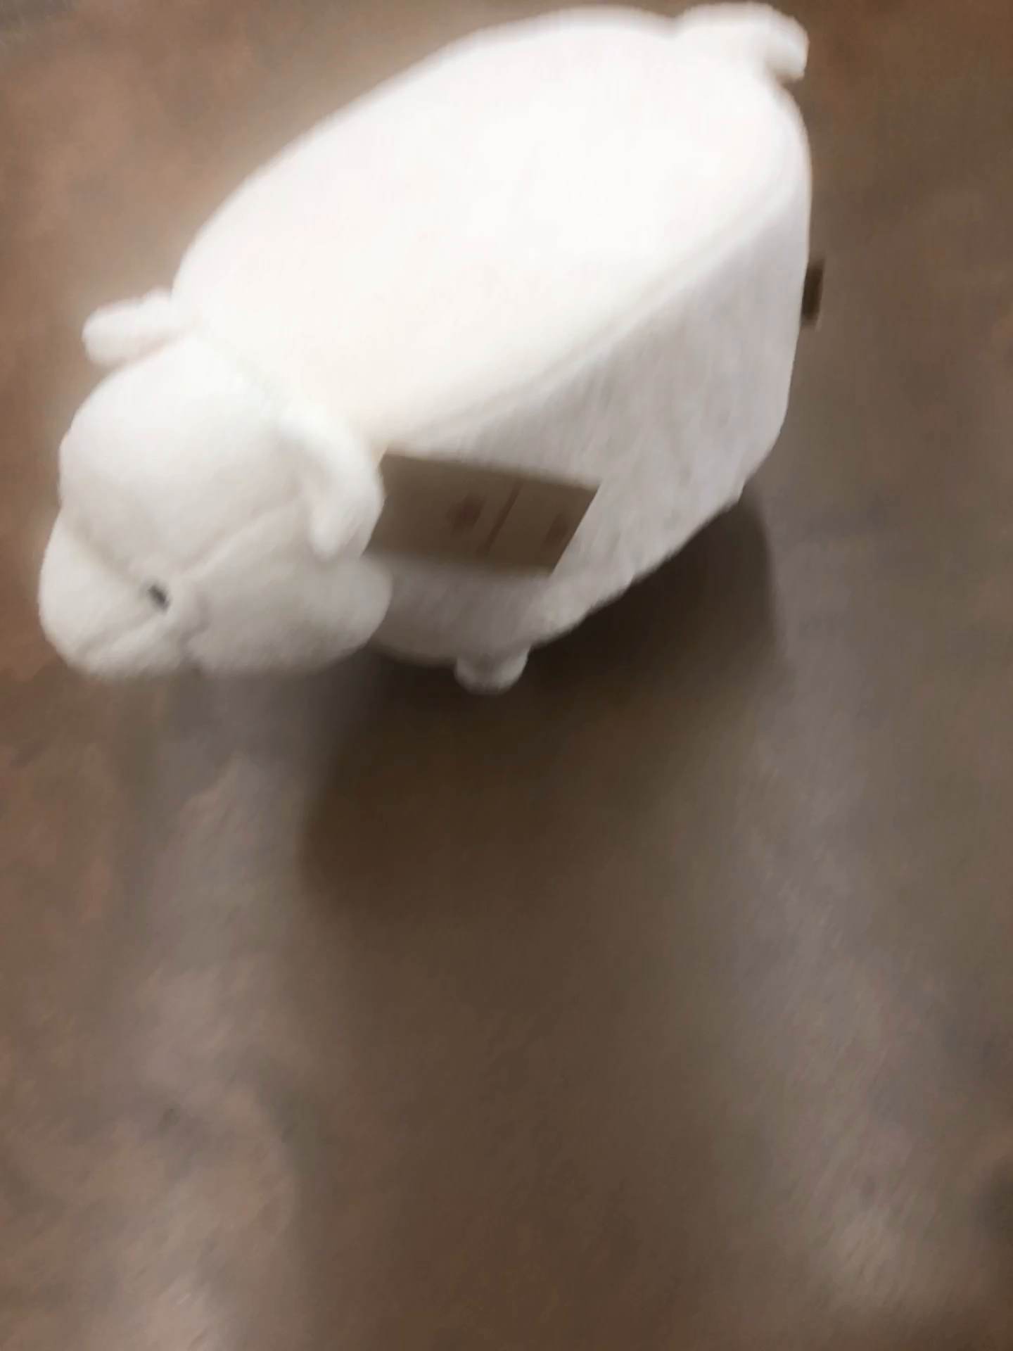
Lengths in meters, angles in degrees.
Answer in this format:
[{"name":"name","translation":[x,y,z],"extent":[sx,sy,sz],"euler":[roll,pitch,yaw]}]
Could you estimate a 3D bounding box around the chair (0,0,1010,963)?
[{"name":"chair","translation":[-0.052,-0.199,0.861],"extent":[0.630,0.349,0.441],"euler":[-36,60,-12]}]
